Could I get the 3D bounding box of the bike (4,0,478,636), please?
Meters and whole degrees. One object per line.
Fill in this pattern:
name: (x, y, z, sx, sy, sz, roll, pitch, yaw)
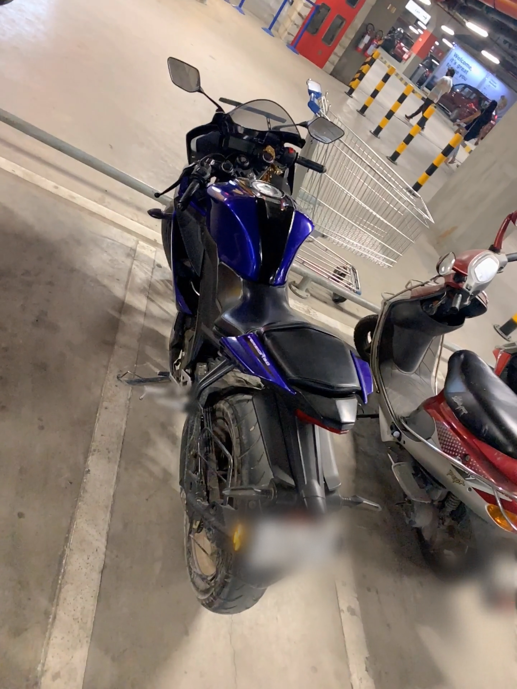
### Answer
bike: (-0.285, -0.178, 1.671, 0.689, 0.932, 1.652, 14, 43, -34)
